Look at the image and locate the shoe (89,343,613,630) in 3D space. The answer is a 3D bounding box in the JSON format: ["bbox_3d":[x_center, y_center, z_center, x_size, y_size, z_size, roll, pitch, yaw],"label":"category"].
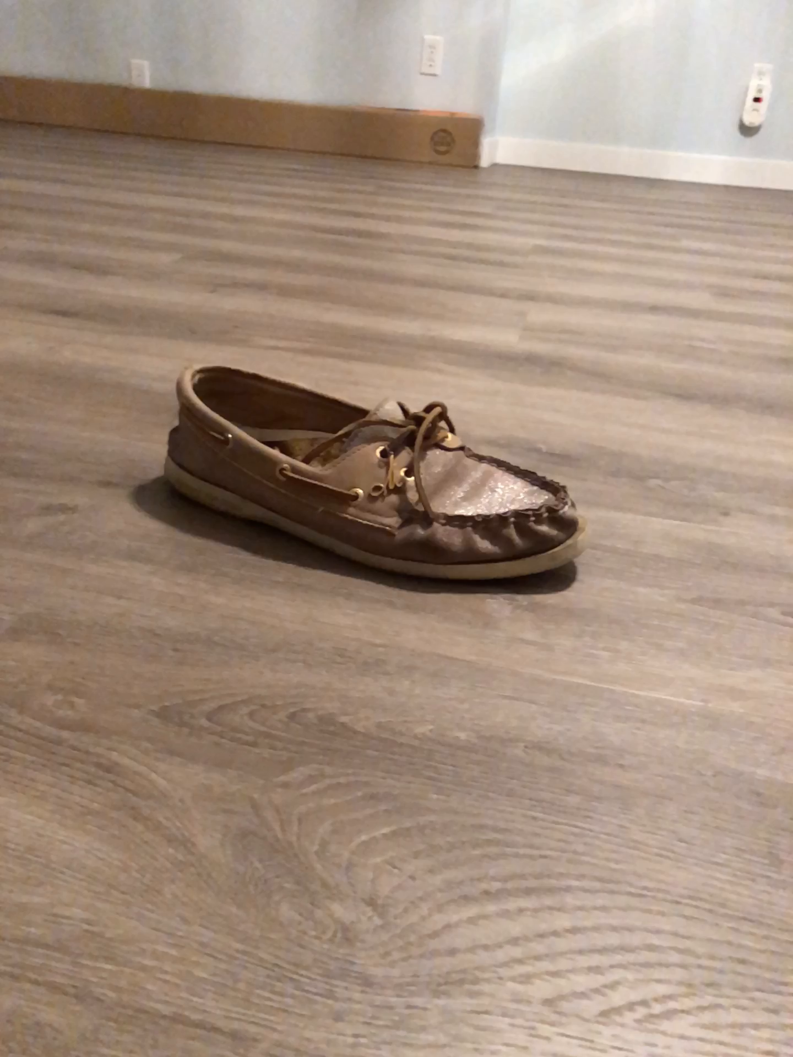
[{"bbox_3d":[-0.025,-0.033,0.466,0.250,0.070,0.100,14,27,18],"label":"shoe"}]
